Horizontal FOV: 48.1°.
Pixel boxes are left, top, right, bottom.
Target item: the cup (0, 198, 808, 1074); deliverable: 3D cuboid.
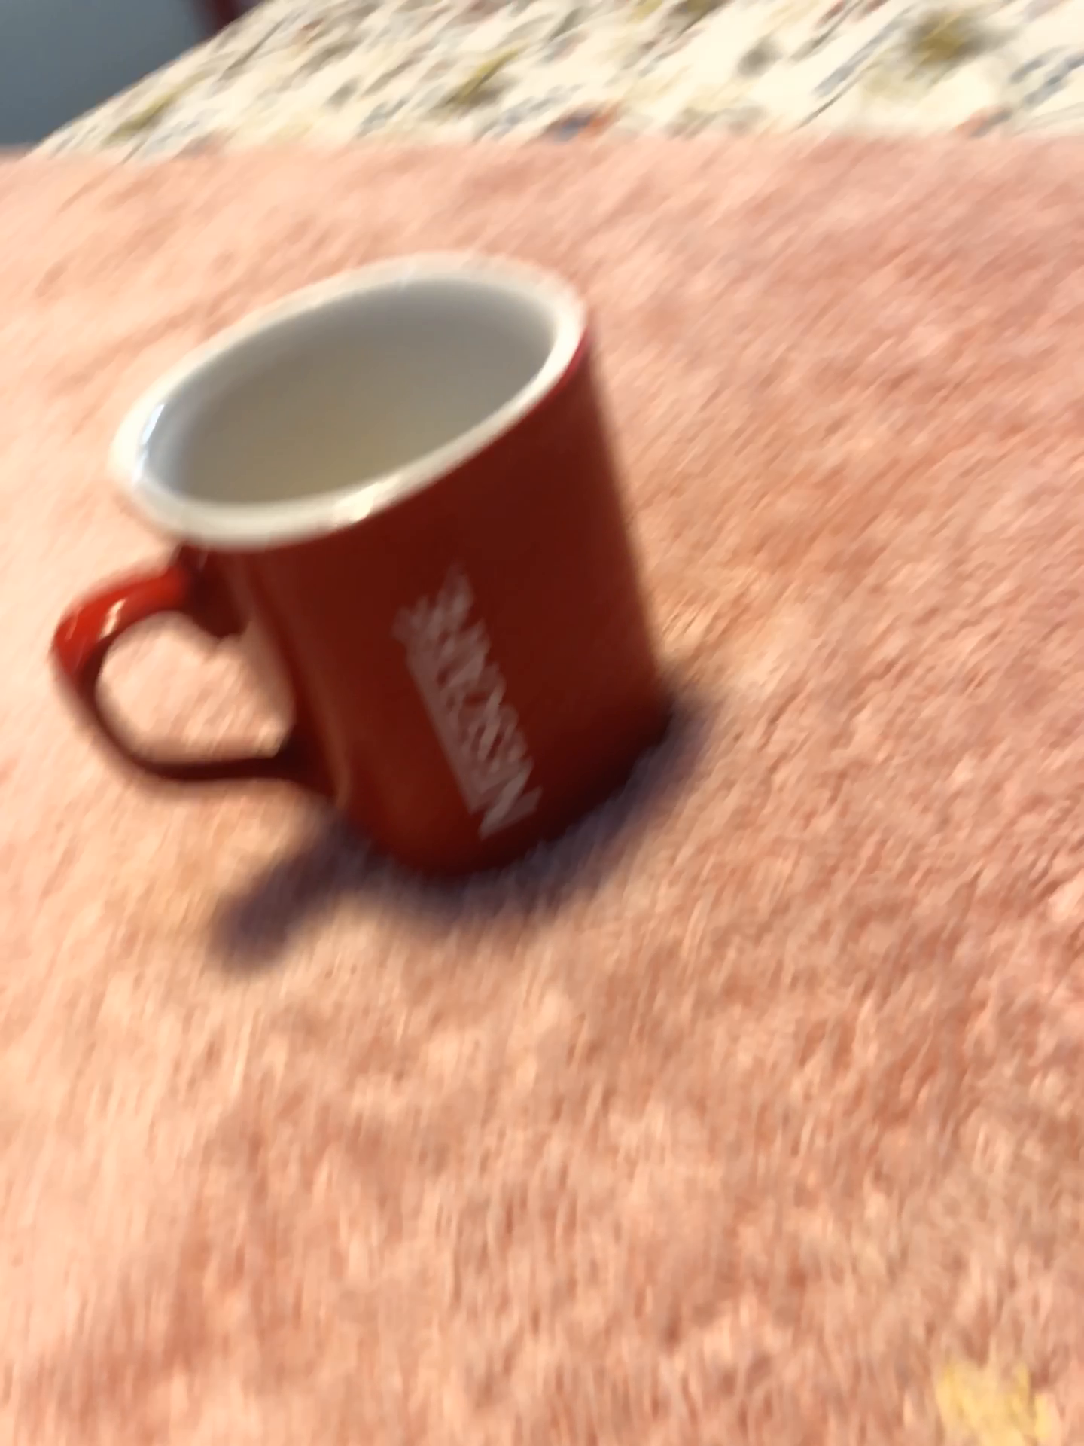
[{"bbox_3d":[-0.024,-0.019,0.186,0.100,0.070,0.070,-36,45,-17],"label":"cup"}]
